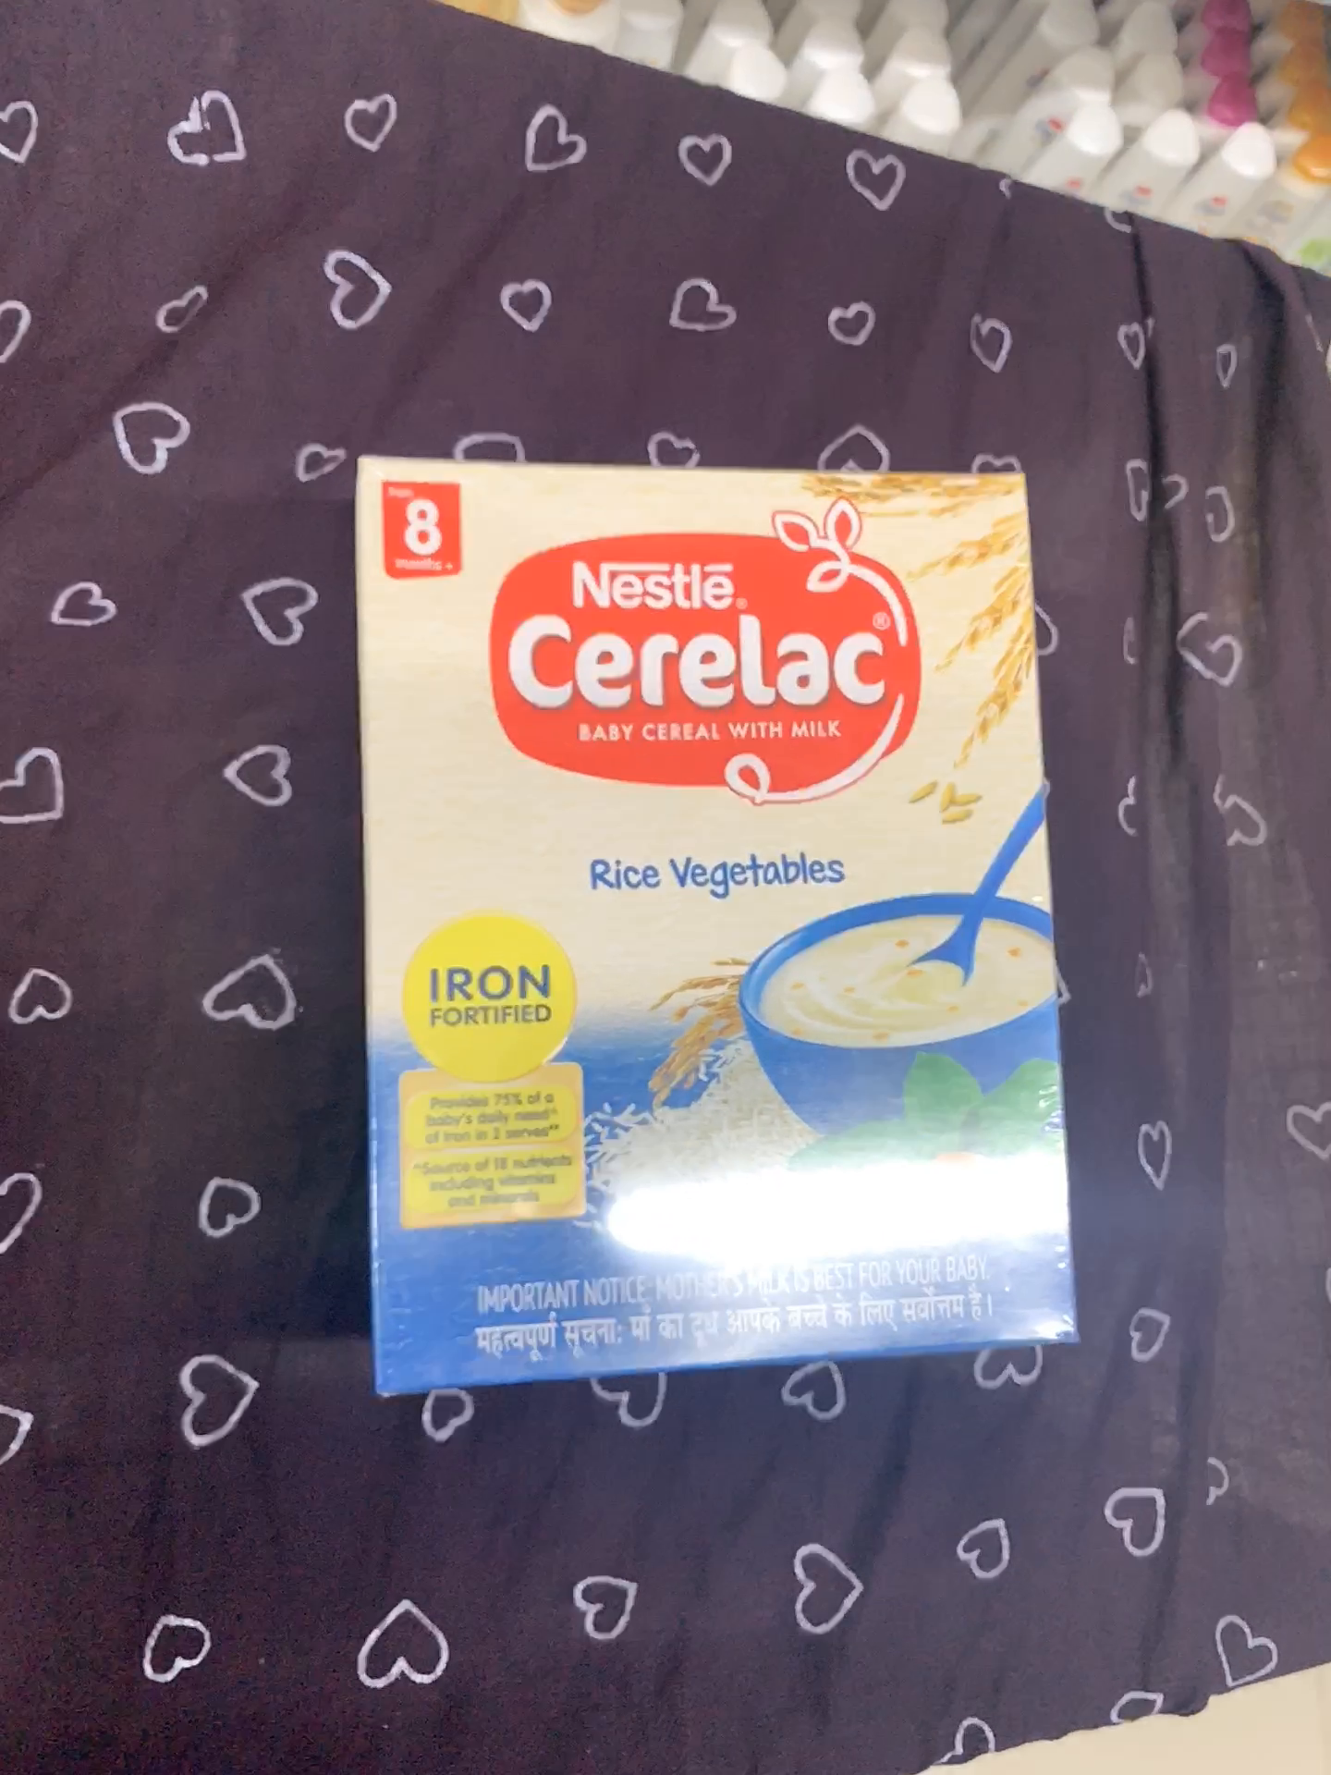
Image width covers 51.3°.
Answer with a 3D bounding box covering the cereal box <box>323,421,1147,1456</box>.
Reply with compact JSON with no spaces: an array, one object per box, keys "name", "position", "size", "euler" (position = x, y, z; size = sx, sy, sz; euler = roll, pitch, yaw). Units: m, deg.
[{"name":"cereal box","position":[0.010,0.006,0.291],"size":[0.150,0.050,0.190],"euler":[-2,83,-10]}]
